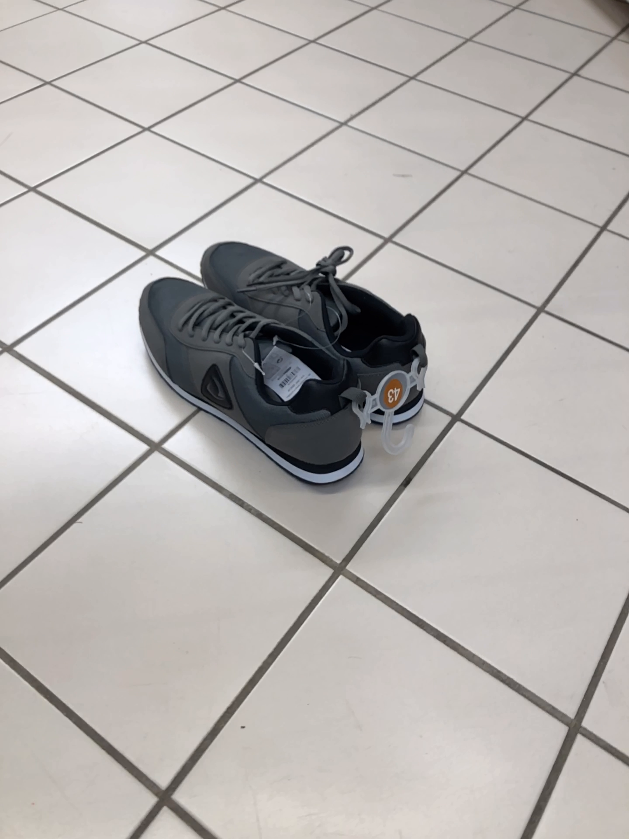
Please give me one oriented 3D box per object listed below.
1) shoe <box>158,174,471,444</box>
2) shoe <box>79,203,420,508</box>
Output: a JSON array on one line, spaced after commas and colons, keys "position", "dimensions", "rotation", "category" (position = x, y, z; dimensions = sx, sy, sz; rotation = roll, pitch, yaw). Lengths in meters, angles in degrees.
[{"position": [-0.010, -0.115, 0.667], "dimensions": [0.290, 0.099, 0.101], "rotation": [35, 56, 23], "category": "shoe"}, {"position": [-0.063, -0.066, 0.605], "dimensions": [0.290, 0.099, 0.101], "rotation": [35, 56, 23], "category": "shoe"}]
